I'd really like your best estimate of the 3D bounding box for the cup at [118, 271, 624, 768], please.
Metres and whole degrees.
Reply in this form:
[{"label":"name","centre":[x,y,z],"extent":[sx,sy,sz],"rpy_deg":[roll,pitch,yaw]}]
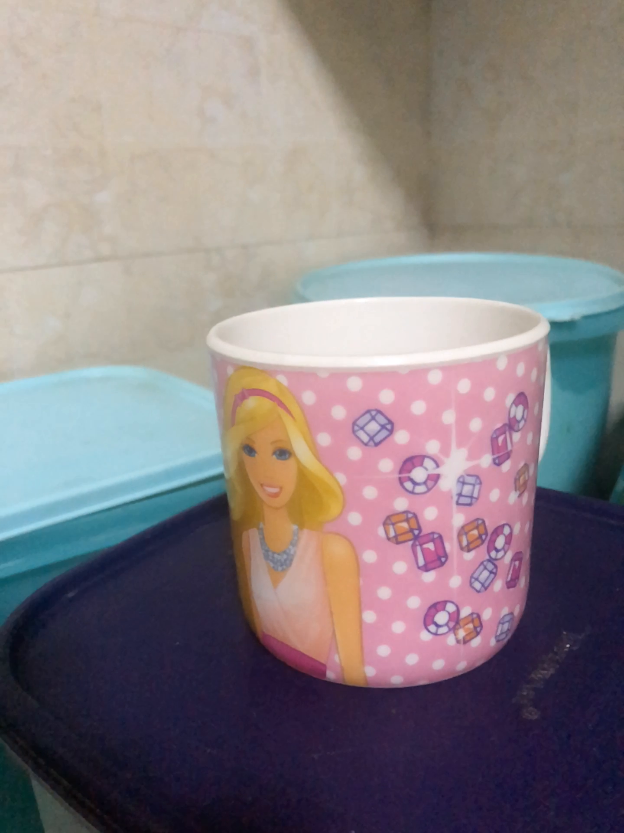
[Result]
[{"label":"cup","centre":[0.026,0.008,0.193],"extent":[0.080,0.080,0.120],"rpy_deg":[12,22,40]}]
